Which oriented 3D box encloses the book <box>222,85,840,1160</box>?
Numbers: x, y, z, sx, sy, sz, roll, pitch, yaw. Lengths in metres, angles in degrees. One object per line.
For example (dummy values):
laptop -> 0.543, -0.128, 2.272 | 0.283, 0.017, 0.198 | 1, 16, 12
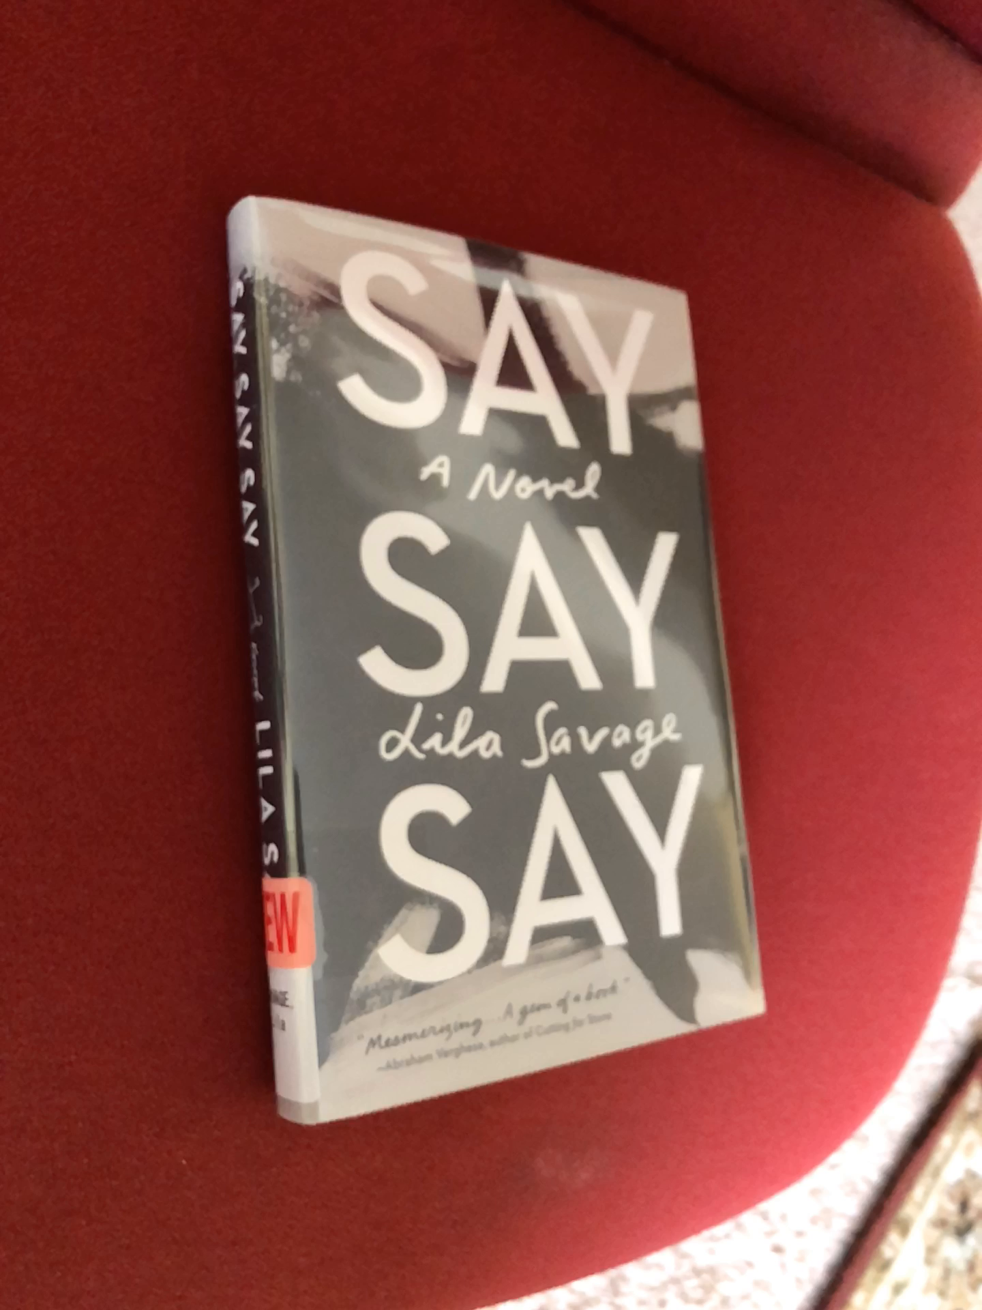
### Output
book -> 0.016, -0.008, 0.275 | 0.151, 0.040, 0.210 | -1, 88, -34
